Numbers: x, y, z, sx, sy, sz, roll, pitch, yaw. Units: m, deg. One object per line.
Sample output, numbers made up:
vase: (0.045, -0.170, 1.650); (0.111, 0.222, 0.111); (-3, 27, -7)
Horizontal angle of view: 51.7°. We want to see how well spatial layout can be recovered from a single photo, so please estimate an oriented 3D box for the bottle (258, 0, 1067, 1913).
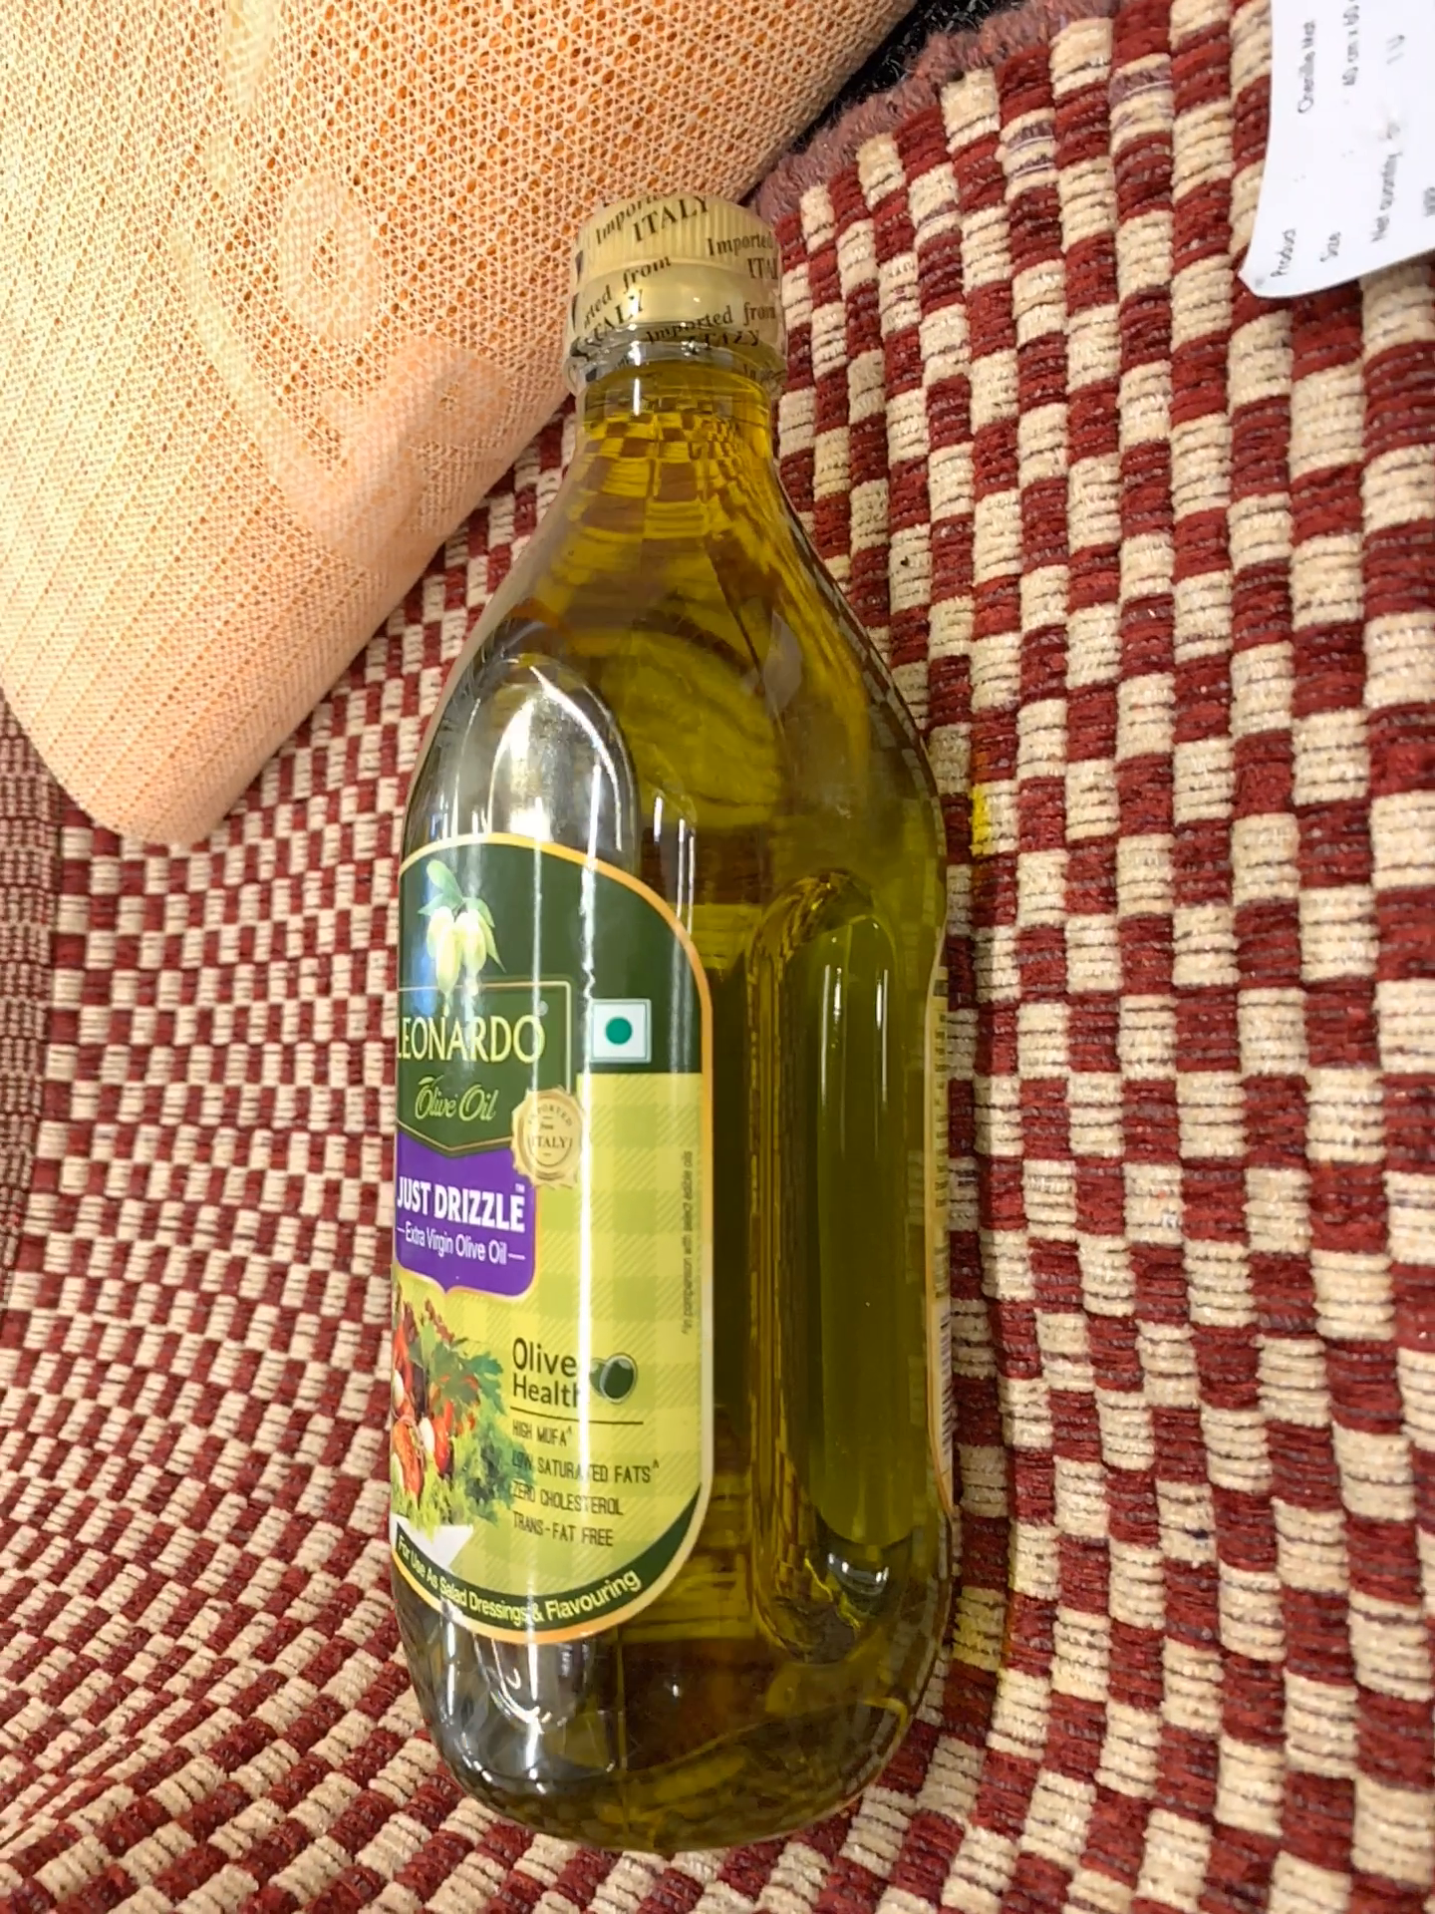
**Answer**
bottle: (-0.008, -0.007, 0.221); (0.080, 0.070, 0.240); (3, 90, 40)
